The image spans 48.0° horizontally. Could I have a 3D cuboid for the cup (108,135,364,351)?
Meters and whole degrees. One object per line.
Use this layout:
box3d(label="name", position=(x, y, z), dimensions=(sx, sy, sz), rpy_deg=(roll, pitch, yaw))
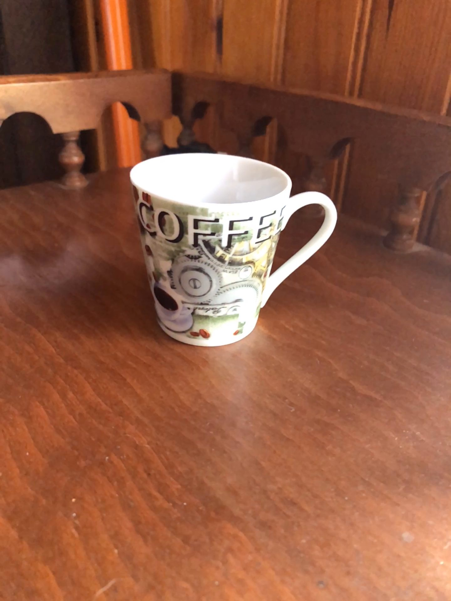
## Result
box3d(label="cup", position=(-0.002, -0.026, 0.196), dimensions=(0.080, 0.060, 0.060), rpy_deg=(-5, 31, -12))
